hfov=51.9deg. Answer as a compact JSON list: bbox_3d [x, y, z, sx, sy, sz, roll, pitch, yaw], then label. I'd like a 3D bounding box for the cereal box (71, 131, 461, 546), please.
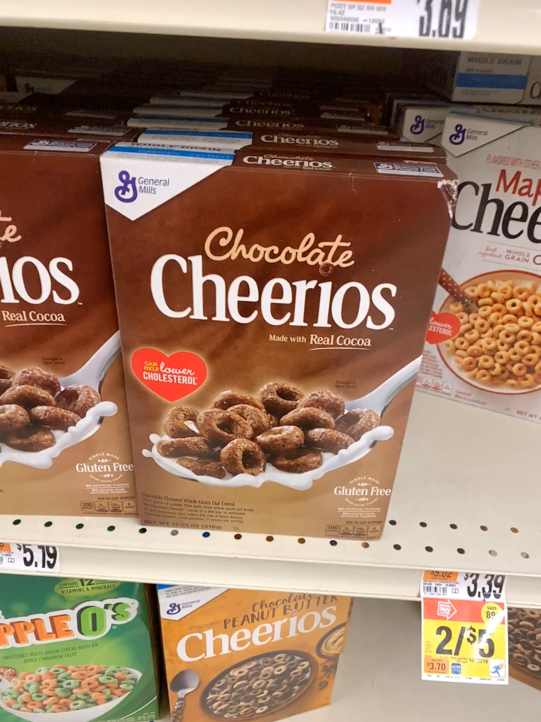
[{"bbox_3d":[-0.008,0.004,0.405,0.210,0.298,0.060,4,33,1],"label":"cereal box"}]
